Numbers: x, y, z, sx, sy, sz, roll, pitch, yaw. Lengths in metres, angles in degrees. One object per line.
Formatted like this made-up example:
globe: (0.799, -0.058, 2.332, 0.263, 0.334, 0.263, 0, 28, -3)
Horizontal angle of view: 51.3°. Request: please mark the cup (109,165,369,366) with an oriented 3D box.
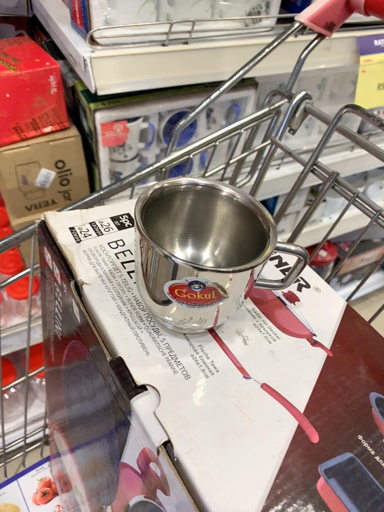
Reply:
cup: (0.017, 0.004, 0.176, 0.090, 0.050, 0.060, 7, 47, 0)
